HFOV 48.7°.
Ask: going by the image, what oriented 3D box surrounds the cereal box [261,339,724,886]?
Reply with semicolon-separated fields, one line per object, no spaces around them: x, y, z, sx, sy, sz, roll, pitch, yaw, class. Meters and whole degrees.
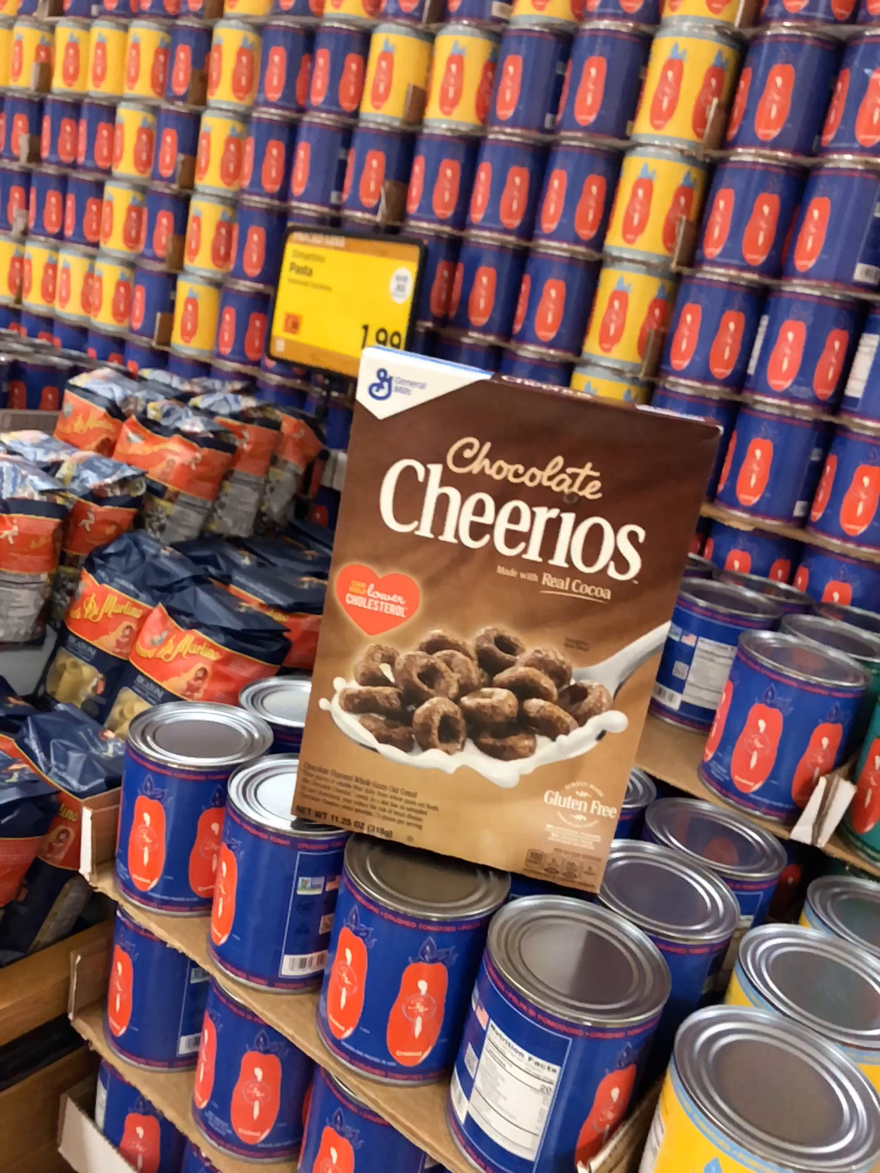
0.022;0.016;0.571;0.210;0.279;0.050;12;15;5;cereal box
